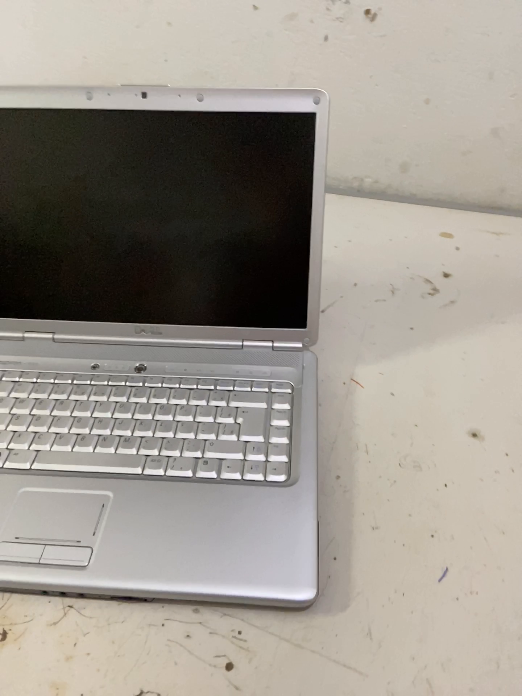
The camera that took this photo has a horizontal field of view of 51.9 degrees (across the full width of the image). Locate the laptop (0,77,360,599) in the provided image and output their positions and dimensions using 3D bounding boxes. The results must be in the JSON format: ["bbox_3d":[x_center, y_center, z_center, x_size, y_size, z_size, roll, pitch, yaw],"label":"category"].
[{"bbox_3d":[-0.118,-0.045,0.444,0.349,0.208,0.379,2,44,3],"label":"laptop"}]
